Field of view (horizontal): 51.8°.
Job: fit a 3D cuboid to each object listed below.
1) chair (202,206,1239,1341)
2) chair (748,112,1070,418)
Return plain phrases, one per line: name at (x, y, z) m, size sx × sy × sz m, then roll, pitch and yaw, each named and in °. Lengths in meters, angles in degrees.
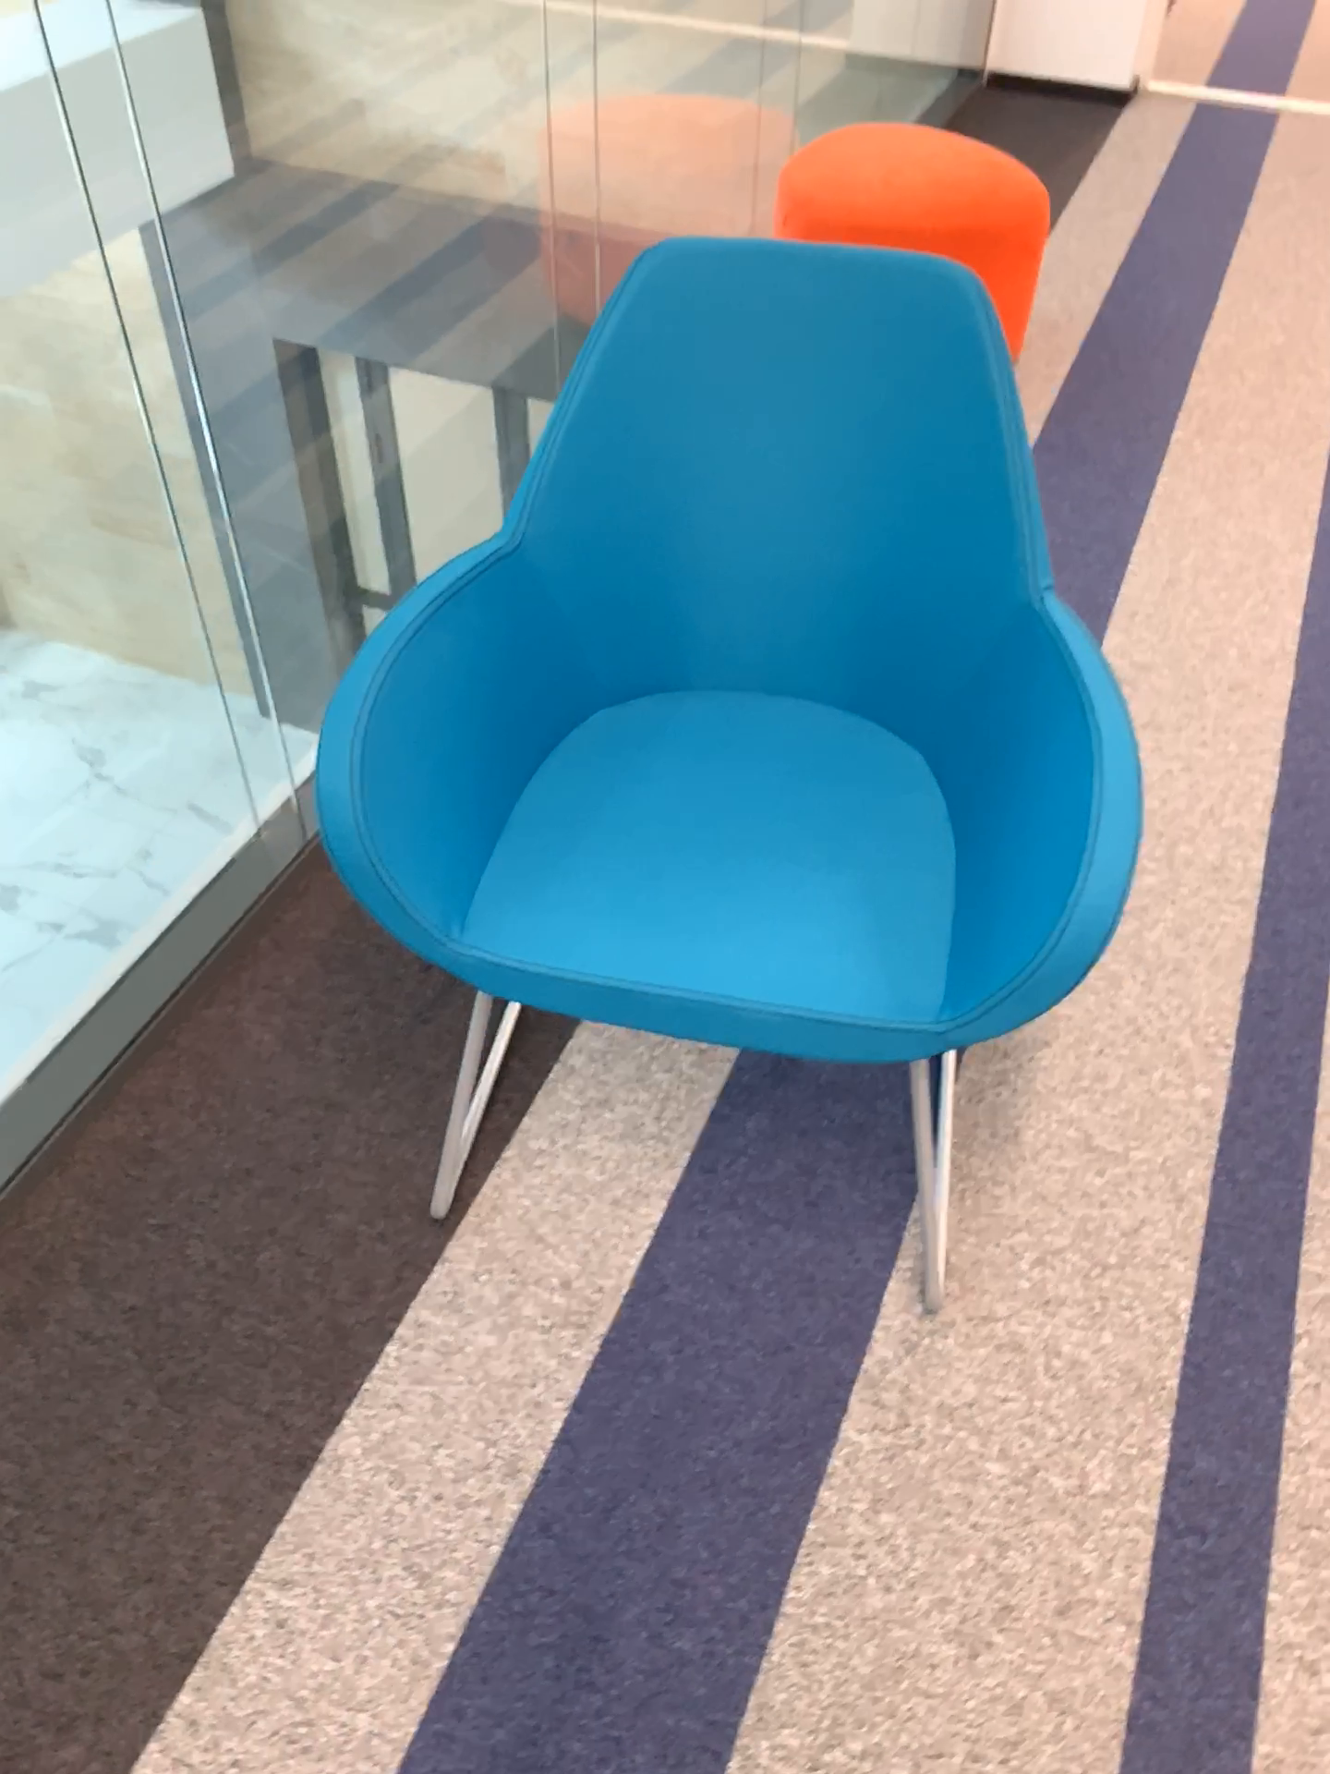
chair at (0.082, -0.105, 1.391) m, size 0.671 × 0.836 × 0.653 m, roll 9°, pitch 46°, yaw 8°
chair at (0.578, -1.474, 3.210) m, size 0.639 × 0.396 × 0.653 m, roll 9°, pitch 46°, yaw 8°
